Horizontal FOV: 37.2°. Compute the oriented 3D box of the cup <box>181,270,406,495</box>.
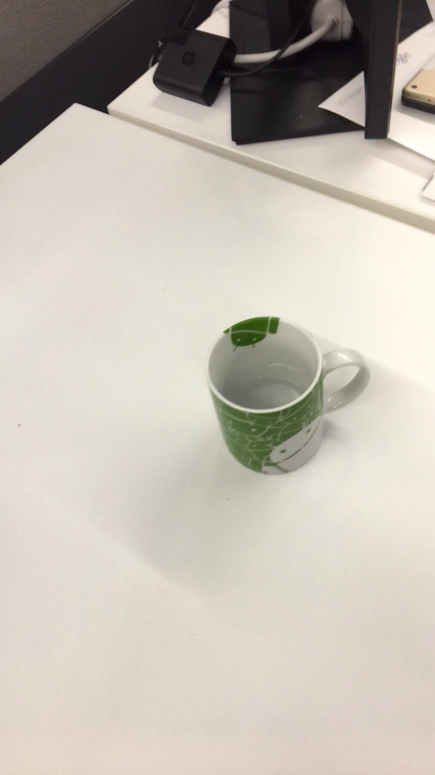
[{"bbox_3d":[0.051,-0.002,0.452,0.120,0.090,0.090,-18,56,-3],"label":"cup"}]
